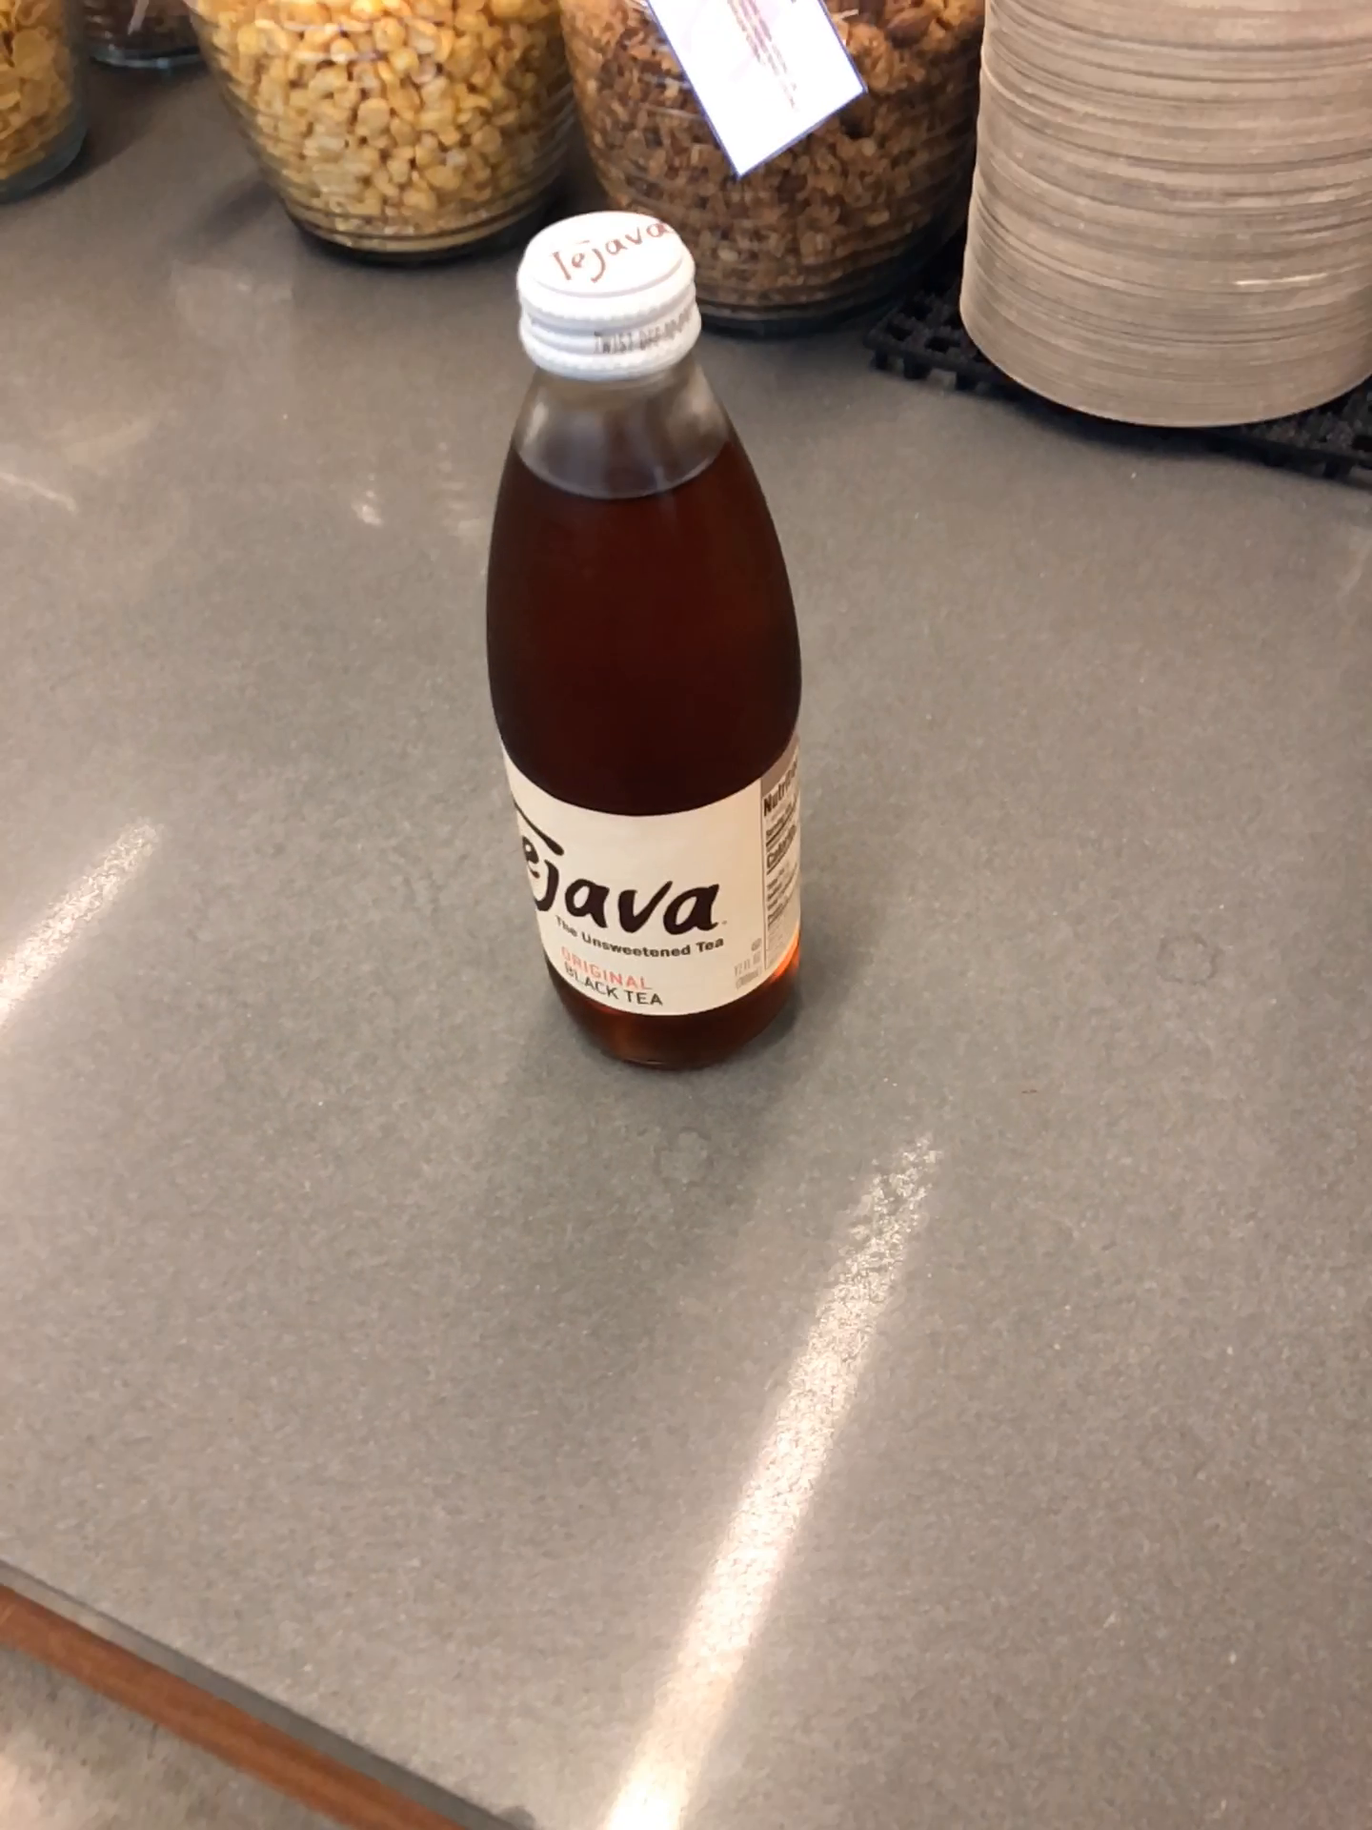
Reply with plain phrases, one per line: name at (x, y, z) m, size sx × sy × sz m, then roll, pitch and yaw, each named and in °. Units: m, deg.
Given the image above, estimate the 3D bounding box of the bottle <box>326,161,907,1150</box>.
bottle at (-0.005, -0.040, 0.317) m, size 0.070 × 0.189 × 0.070 m, roll -2°, pitch 50°, yaw 2°
